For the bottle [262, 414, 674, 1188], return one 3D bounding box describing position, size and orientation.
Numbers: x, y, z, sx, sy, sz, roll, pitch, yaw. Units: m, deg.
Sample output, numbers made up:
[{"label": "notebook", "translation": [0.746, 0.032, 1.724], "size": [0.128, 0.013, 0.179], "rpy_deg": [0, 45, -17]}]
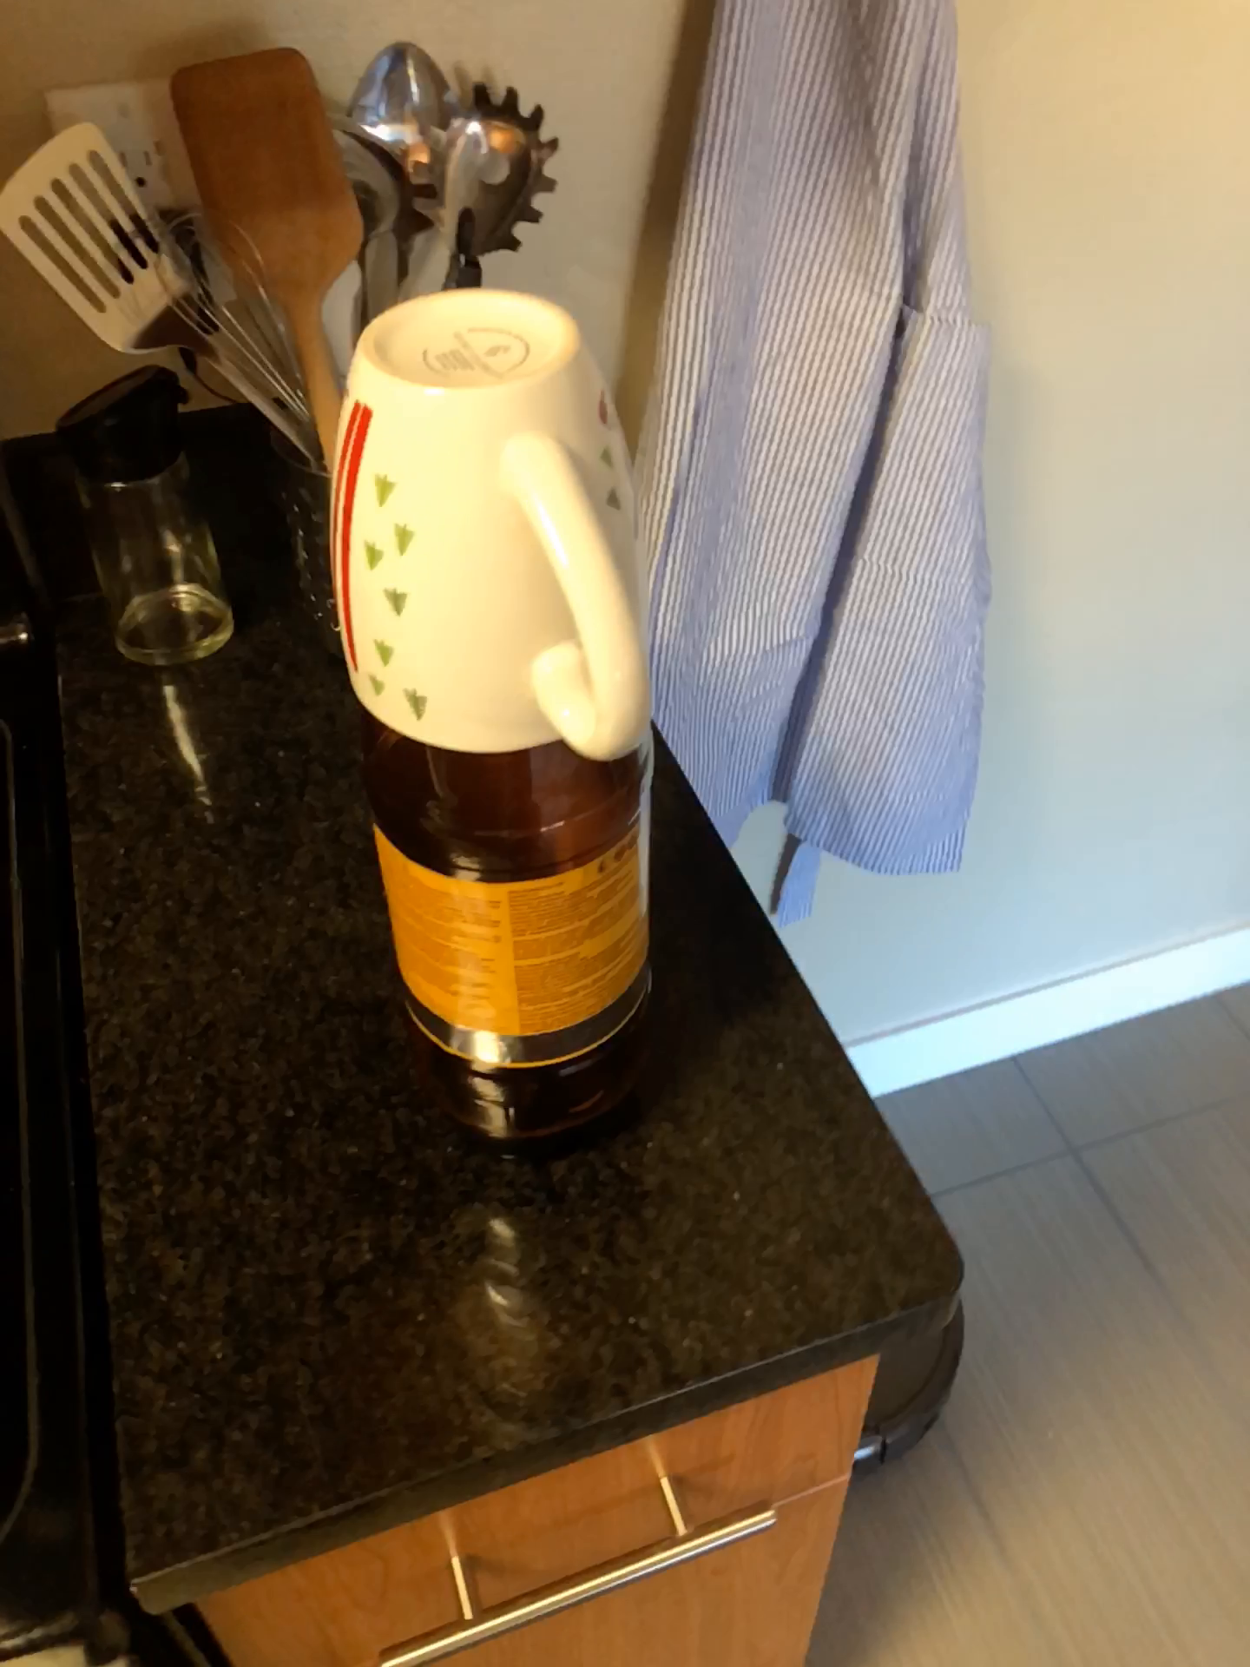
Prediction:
[{"label": "bottle", "translation": [-0.042, 0.002, 0.513], "size": [0.100, 0.279, 0.100], "rpy_deg": [0, 43, 0]}]
